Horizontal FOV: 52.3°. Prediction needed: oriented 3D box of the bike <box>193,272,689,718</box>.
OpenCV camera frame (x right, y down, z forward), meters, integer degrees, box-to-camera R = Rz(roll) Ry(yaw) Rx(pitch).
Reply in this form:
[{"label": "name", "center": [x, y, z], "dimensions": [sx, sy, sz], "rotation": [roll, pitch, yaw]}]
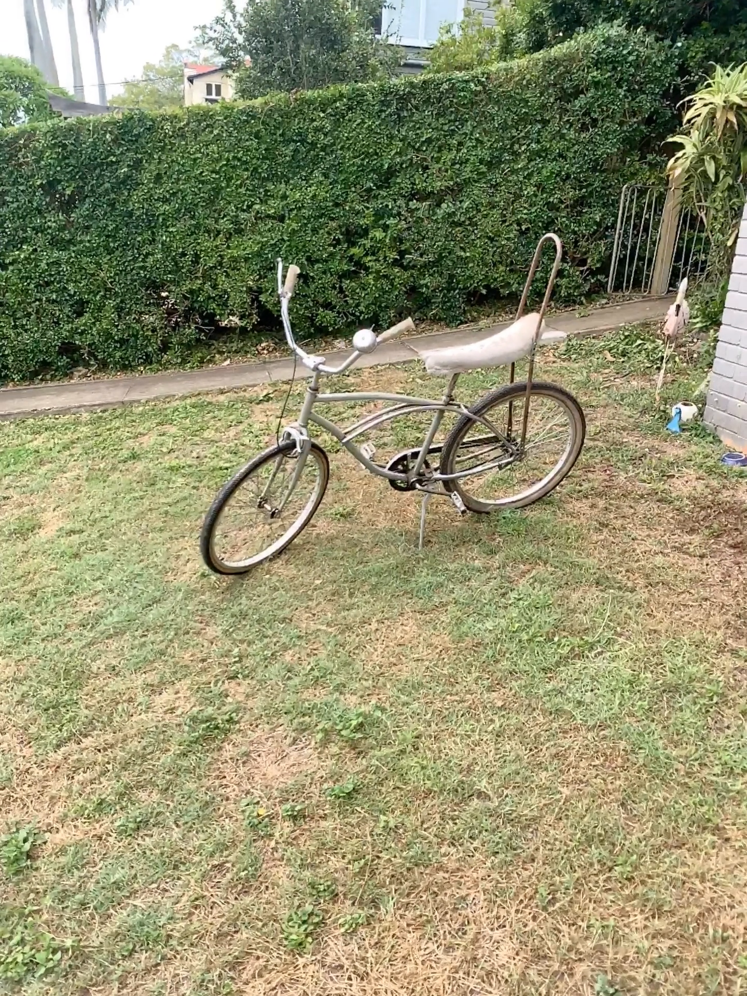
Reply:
[{"label": "bike", "center": [0.175, -0.129, 2.878], "dimensions": [1.600, 0.991, 0.803], "rotation": [-14, 24, -17]}]
